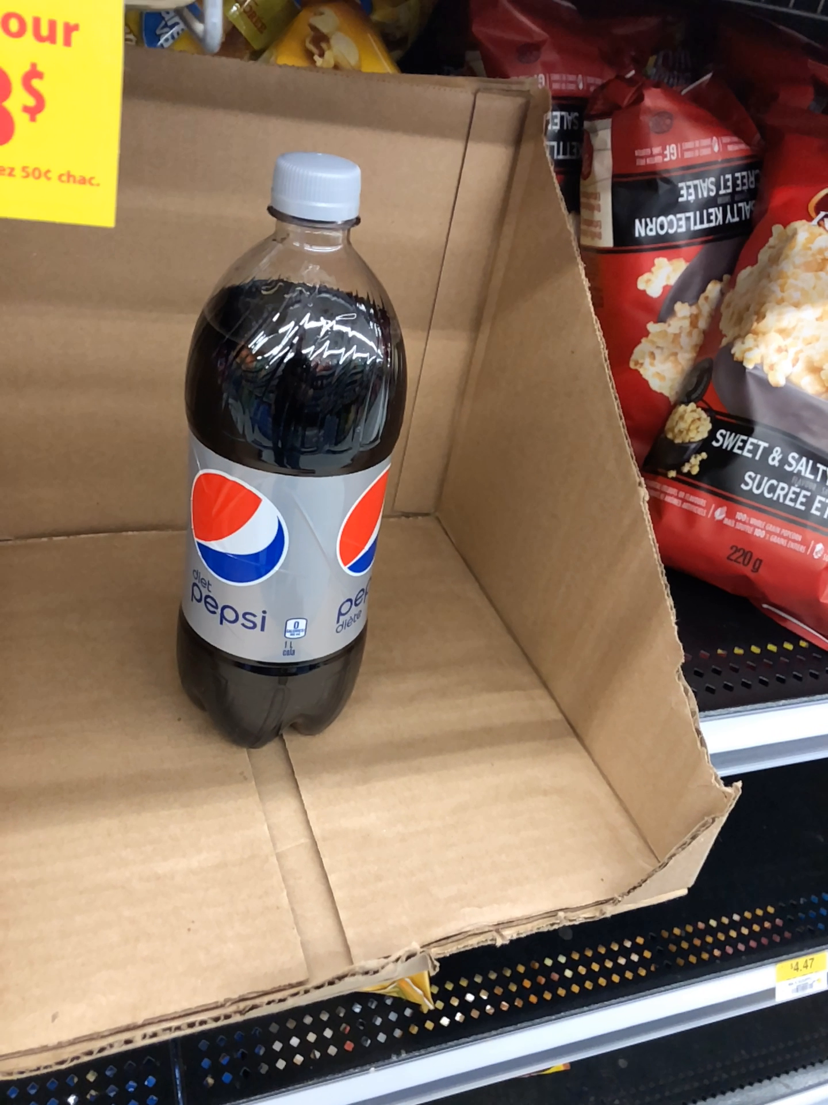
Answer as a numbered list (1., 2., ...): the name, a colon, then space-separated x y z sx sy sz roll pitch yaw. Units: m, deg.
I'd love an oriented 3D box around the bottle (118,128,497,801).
1. bottle: -0.049 -0.027 0.352 0.080 0.228 0.091 27 38 20
